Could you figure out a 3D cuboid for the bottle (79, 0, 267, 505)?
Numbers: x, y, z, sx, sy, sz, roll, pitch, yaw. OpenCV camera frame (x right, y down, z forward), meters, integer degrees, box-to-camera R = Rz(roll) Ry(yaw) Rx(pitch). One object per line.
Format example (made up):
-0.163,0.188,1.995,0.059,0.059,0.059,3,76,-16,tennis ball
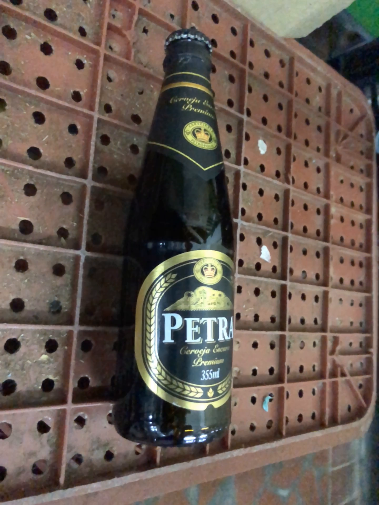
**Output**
-0.006,-0.020,0.225,0.070,0.060,0.250,8,79,-40,bottle
